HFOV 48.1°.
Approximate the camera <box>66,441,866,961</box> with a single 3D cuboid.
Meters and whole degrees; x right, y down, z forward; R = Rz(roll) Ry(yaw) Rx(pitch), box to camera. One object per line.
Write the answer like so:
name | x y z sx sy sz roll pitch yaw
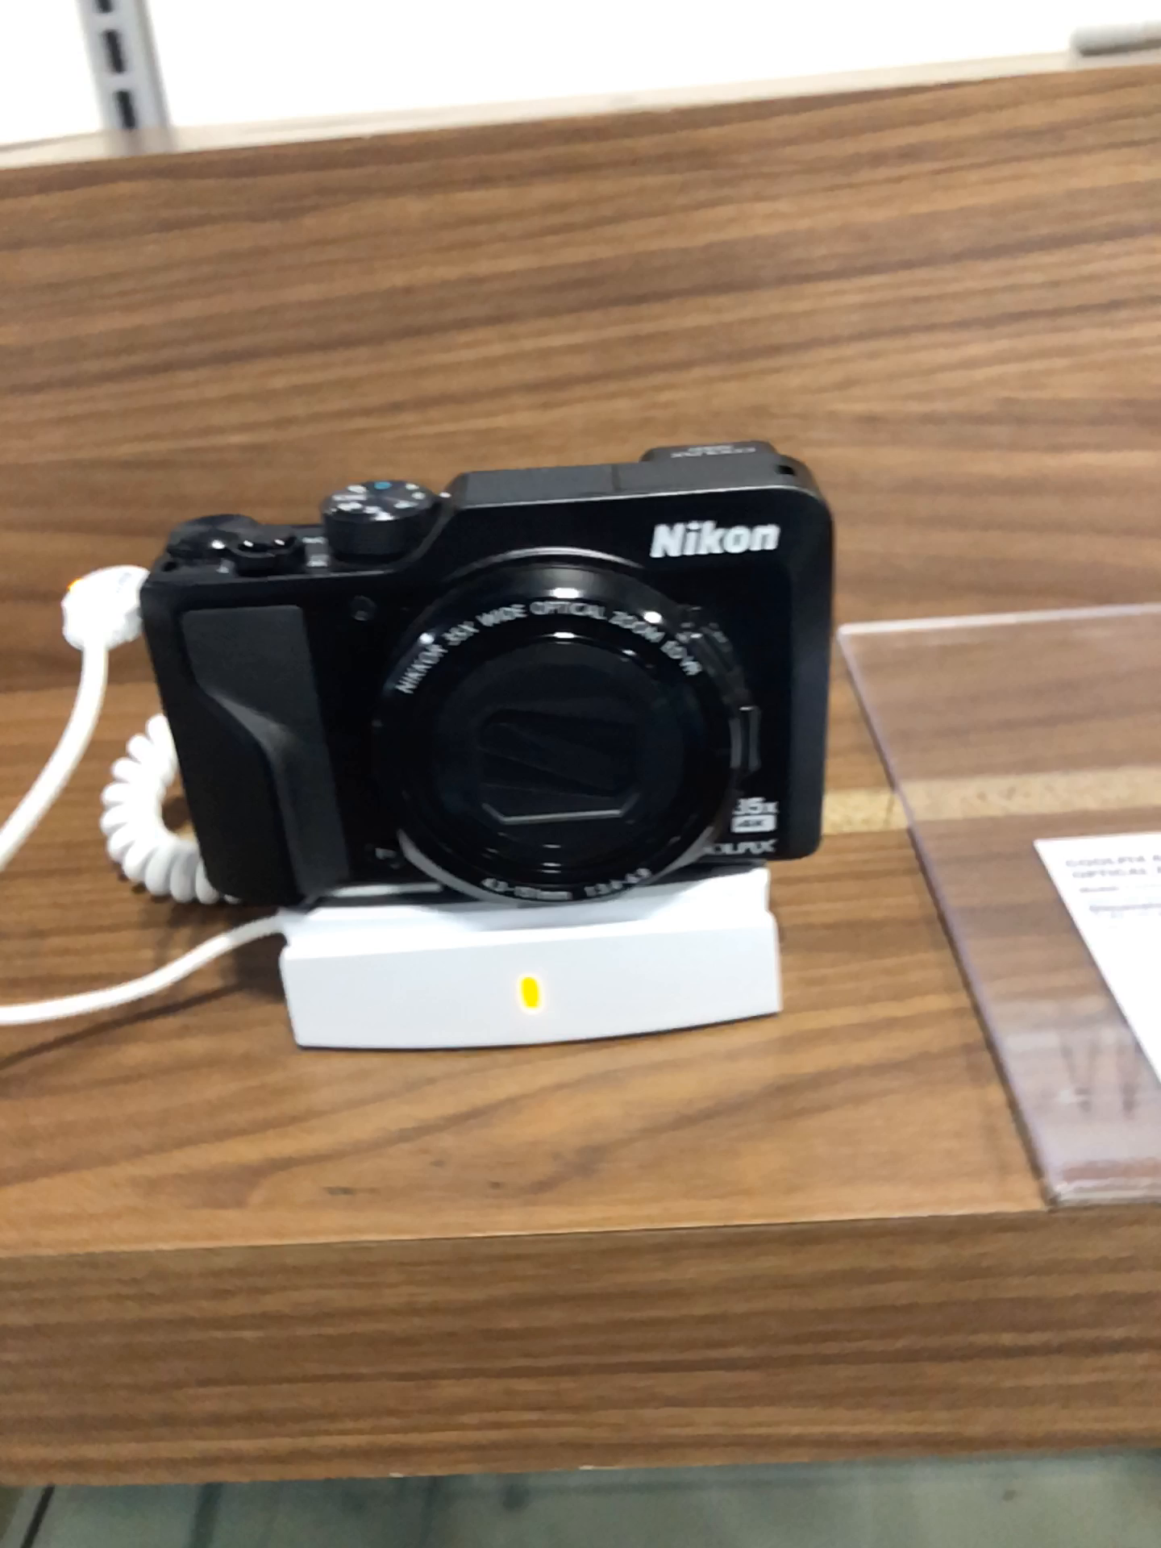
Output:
camera | -0.015 -0.014 0.231 0.120 0.070 0.050 -4 27 4
